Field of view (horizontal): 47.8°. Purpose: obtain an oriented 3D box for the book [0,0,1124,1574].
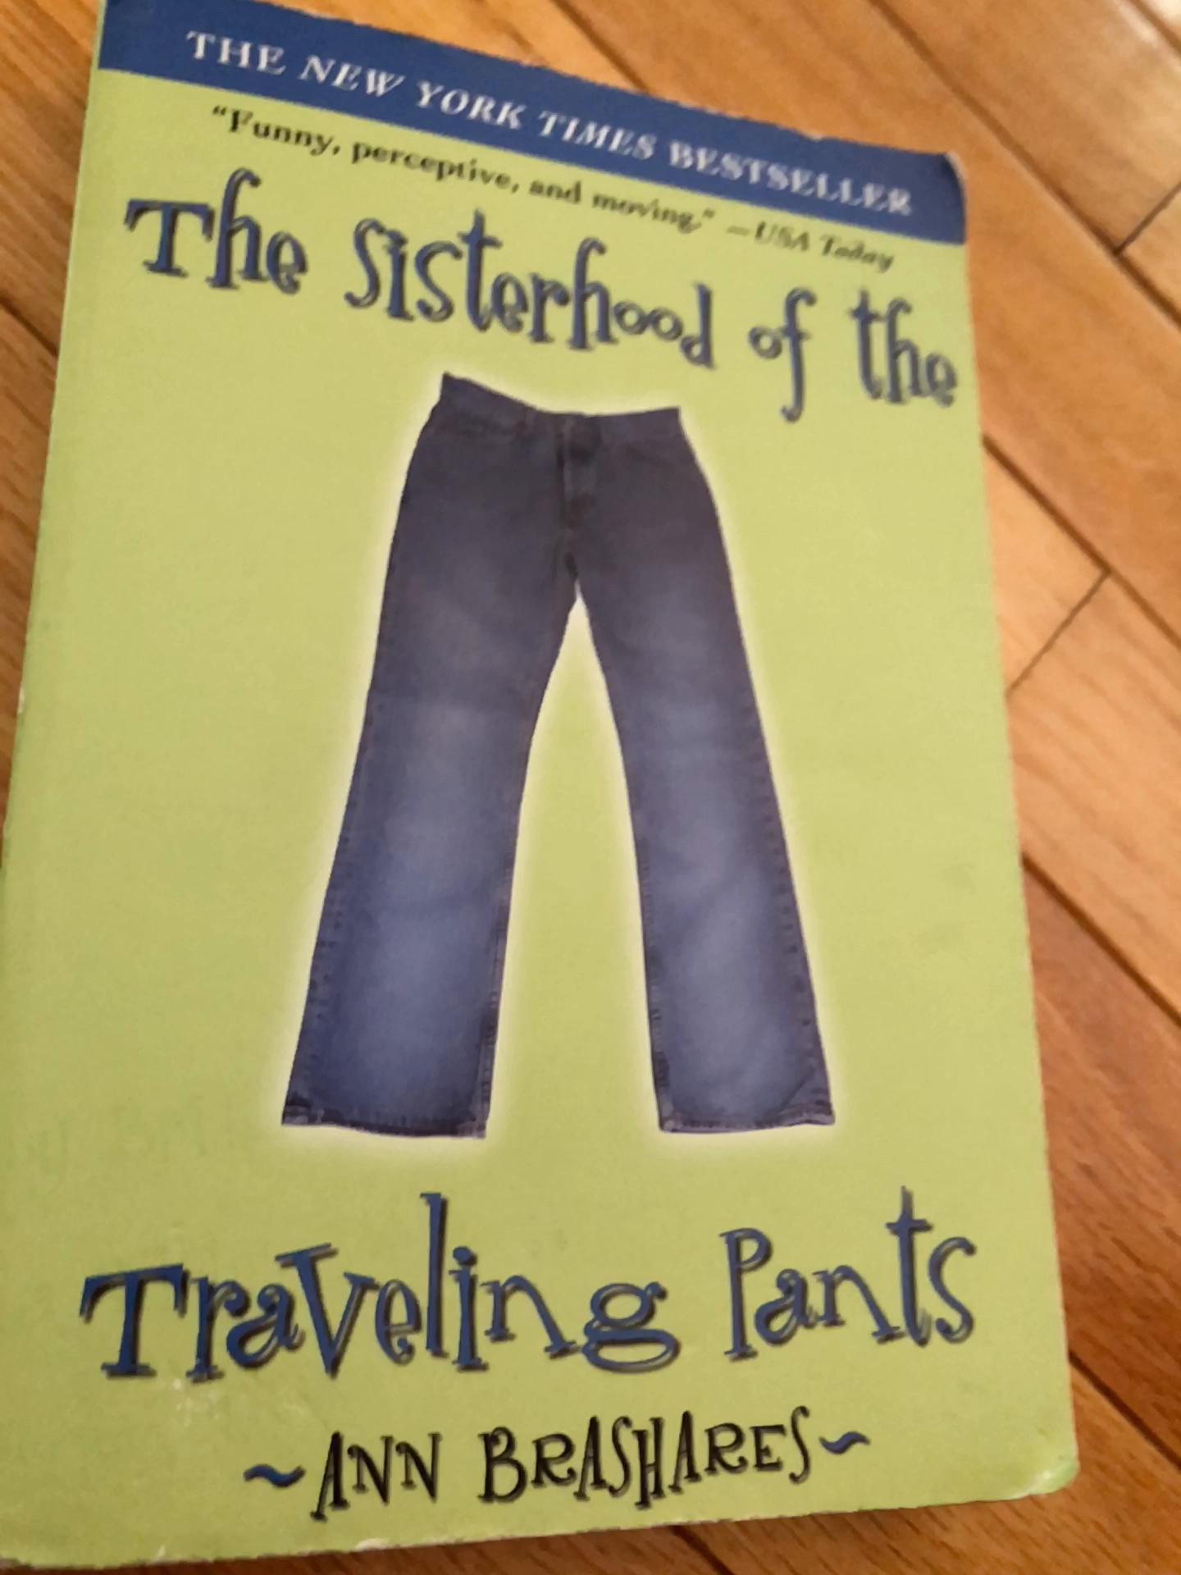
[{"bbox_3d":[-0.004,-0.009,0.189,0.141,0.025,0.209,4,74,-16],"label":"book"}]
